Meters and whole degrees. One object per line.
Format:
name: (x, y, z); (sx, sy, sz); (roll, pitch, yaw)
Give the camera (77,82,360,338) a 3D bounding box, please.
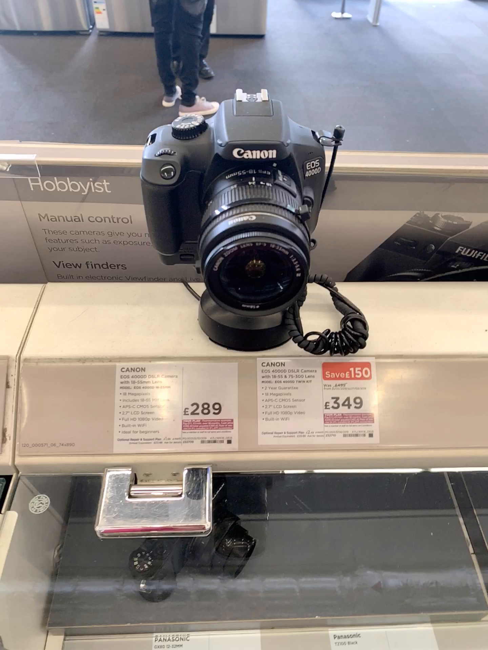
camera: (-0.012, -0.079, 0.331); (0.140, 0.101, 0.137); (3, 46, 0)
